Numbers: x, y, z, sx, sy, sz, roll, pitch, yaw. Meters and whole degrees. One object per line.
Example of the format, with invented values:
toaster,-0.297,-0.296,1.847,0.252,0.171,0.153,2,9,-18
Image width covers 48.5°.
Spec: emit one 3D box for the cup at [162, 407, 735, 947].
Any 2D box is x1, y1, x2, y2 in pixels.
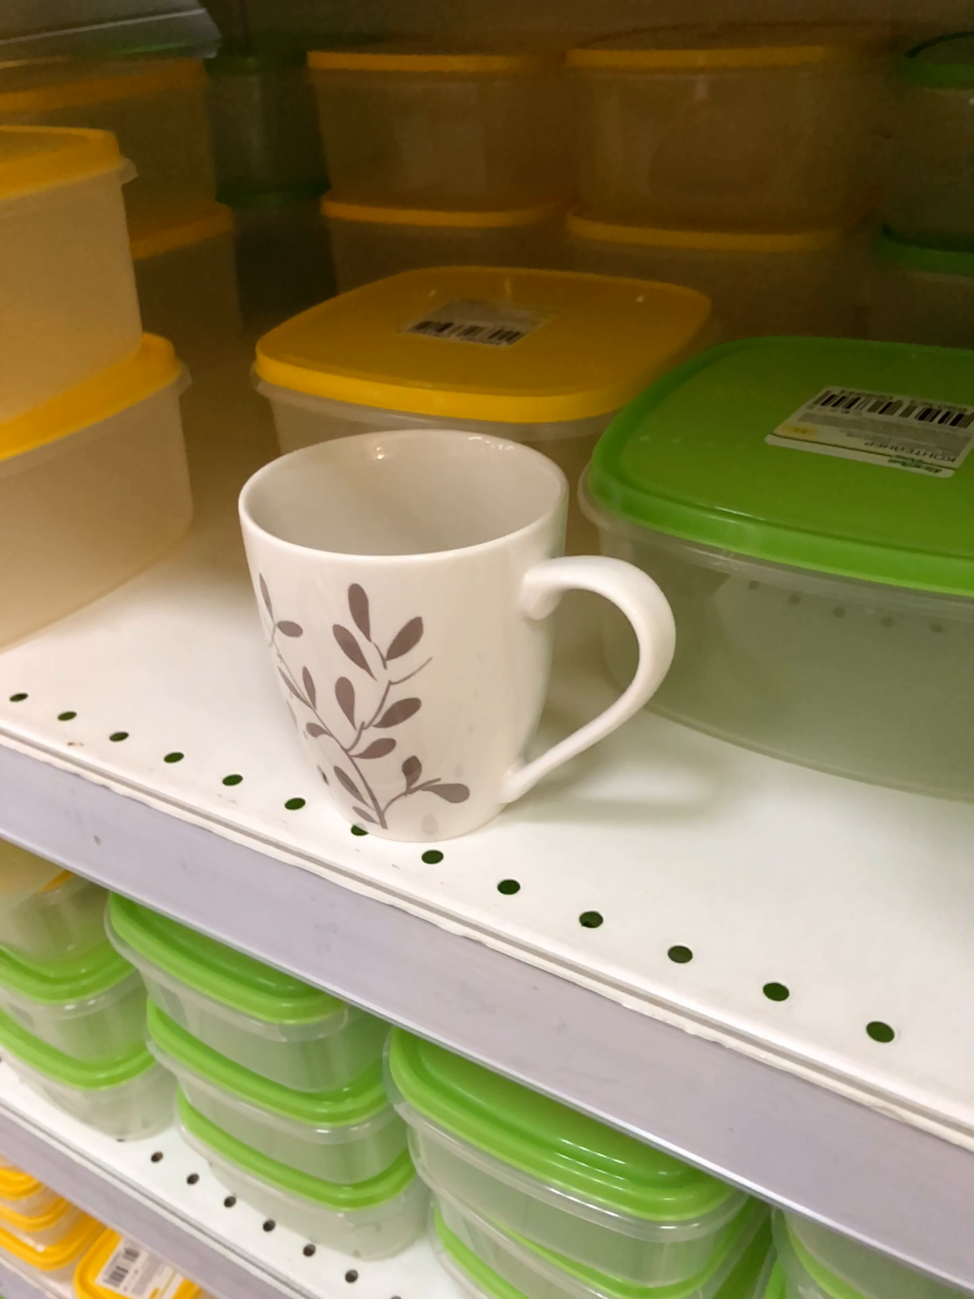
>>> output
cup,-0.005,0.000,0.302,0.121,0.097,0.086,12,37,23
